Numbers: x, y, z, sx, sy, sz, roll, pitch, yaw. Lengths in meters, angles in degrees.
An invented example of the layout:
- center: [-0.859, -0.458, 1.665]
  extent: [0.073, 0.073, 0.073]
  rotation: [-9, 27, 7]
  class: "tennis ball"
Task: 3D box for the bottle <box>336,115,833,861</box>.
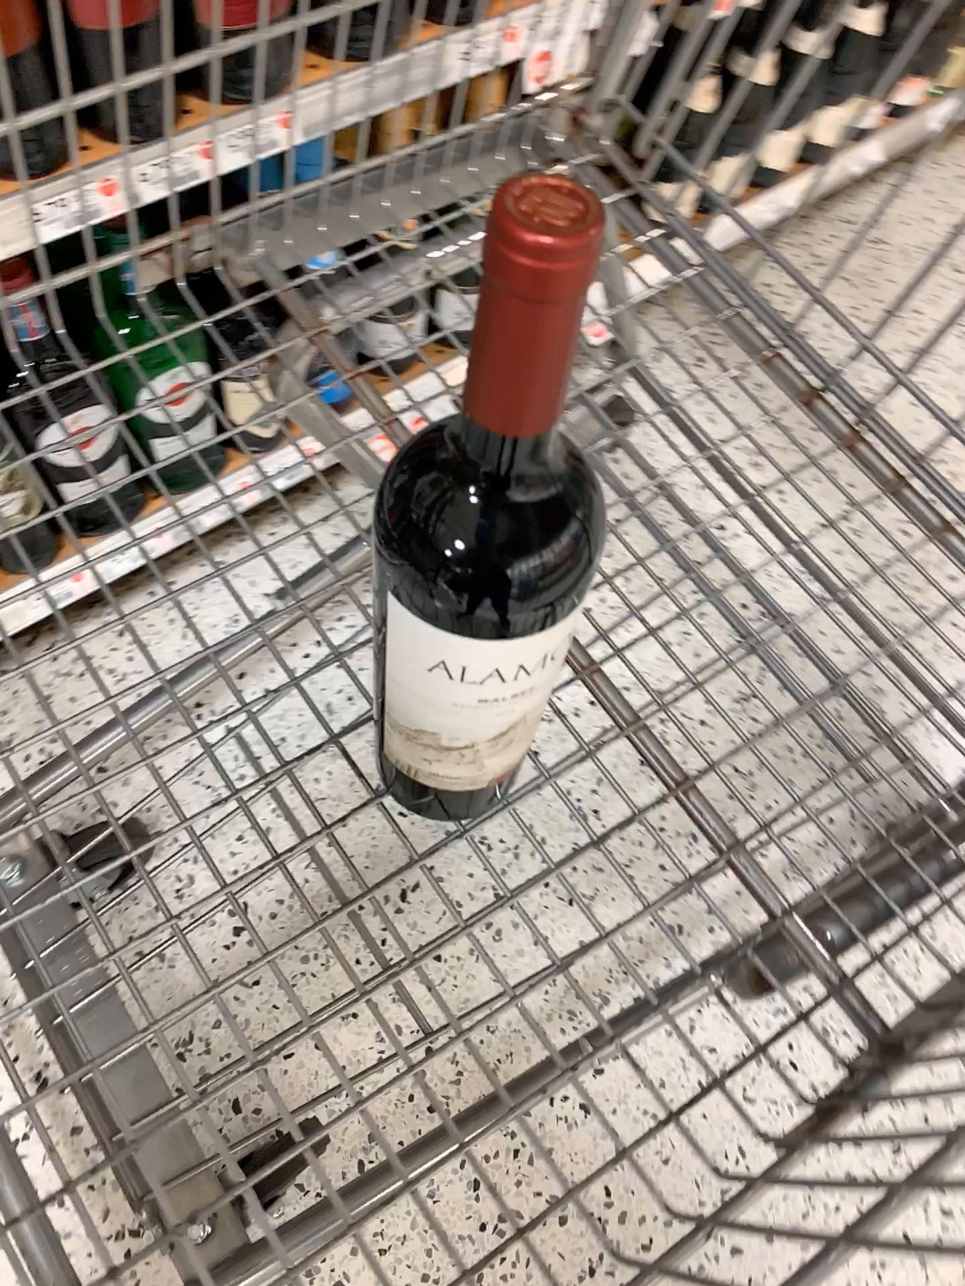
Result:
- center: [0.004, -0.016, 0.344]
  extent: [0.090, 0.298, 0.080]
  rotation: [-10, 63, -12]
  class: "bottle"
